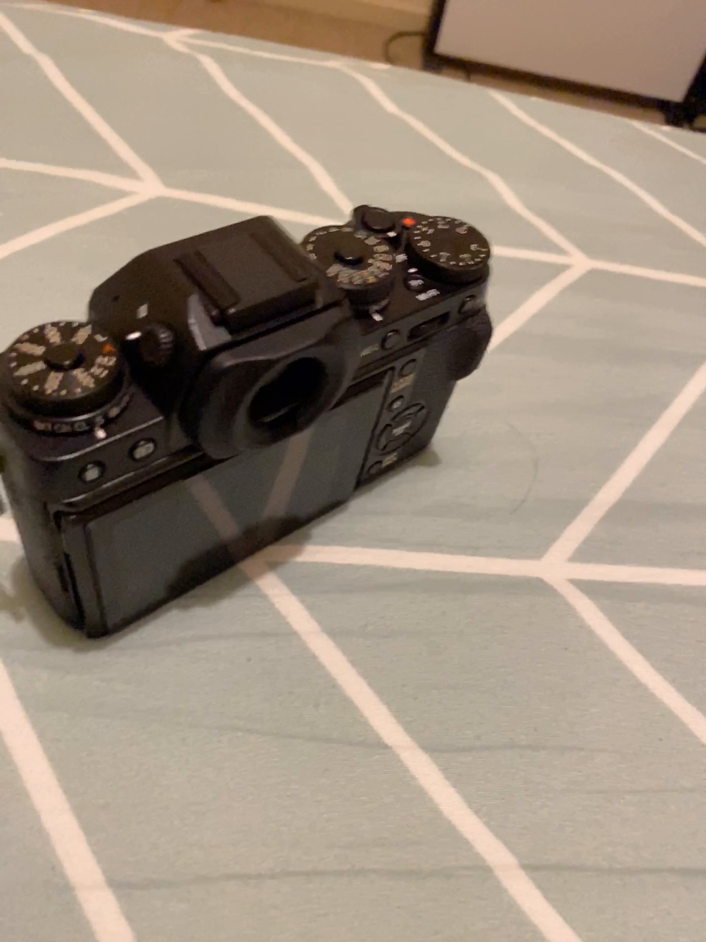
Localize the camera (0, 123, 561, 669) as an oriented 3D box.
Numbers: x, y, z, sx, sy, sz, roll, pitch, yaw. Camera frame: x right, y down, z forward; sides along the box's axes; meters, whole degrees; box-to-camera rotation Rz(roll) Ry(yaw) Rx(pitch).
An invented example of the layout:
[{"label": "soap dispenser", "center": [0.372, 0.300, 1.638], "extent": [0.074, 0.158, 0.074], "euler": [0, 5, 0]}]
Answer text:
[{"label": "camera", "center": [-0.023, -0.022, 0.188], "extent": [0.130, 0.087, 0.052], "euler": [-28, 63, -30]}]
